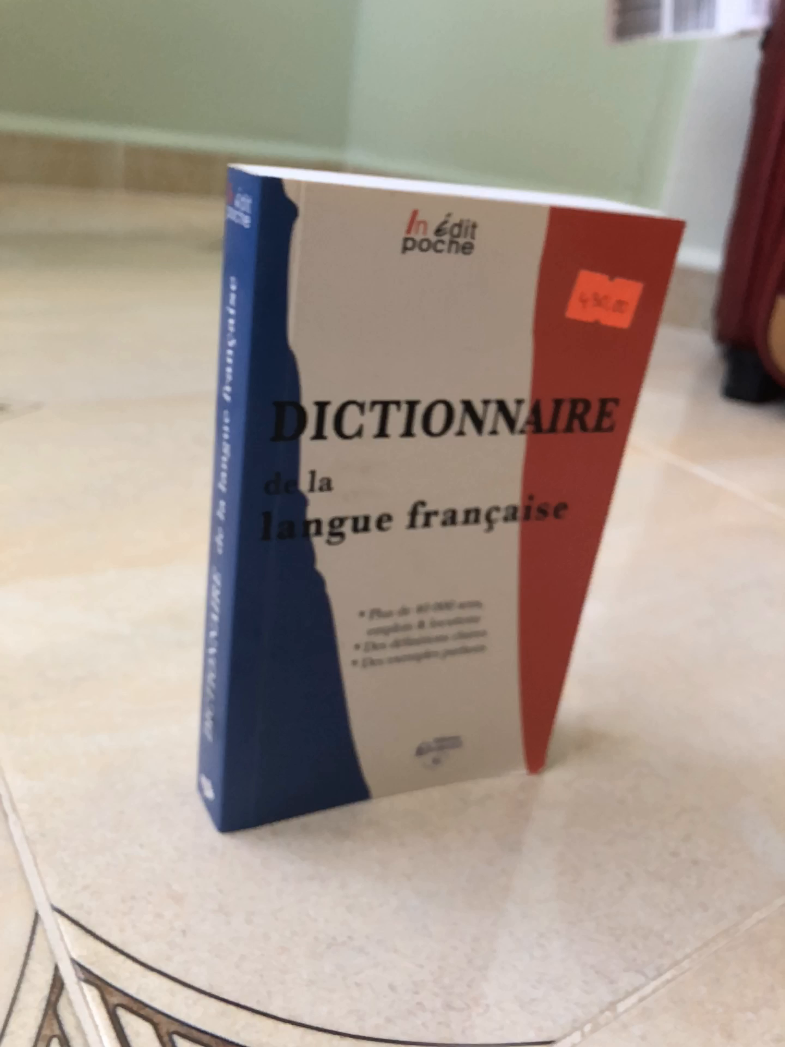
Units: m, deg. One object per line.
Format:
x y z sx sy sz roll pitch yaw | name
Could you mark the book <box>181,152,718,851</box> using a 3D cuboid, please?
0.007 0.001 0.251 0.121 0.182 0.034 -3 28 -23 | book
